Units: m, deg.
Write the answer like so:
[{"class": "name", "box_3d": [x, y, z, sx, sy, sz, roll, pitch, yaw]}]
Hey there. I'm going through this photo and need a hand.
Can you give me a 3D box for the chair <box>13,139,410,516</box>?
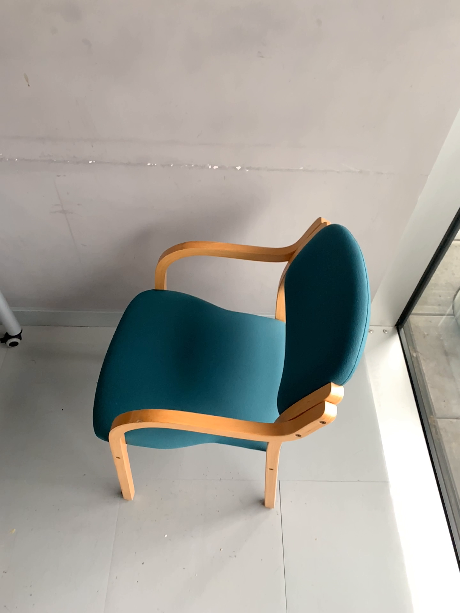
[{"class": "chair", "box_3d": [-0.031, 0.089, 1.251, 0.640, 0.724, 0.686, 3, 52, -1]}]
